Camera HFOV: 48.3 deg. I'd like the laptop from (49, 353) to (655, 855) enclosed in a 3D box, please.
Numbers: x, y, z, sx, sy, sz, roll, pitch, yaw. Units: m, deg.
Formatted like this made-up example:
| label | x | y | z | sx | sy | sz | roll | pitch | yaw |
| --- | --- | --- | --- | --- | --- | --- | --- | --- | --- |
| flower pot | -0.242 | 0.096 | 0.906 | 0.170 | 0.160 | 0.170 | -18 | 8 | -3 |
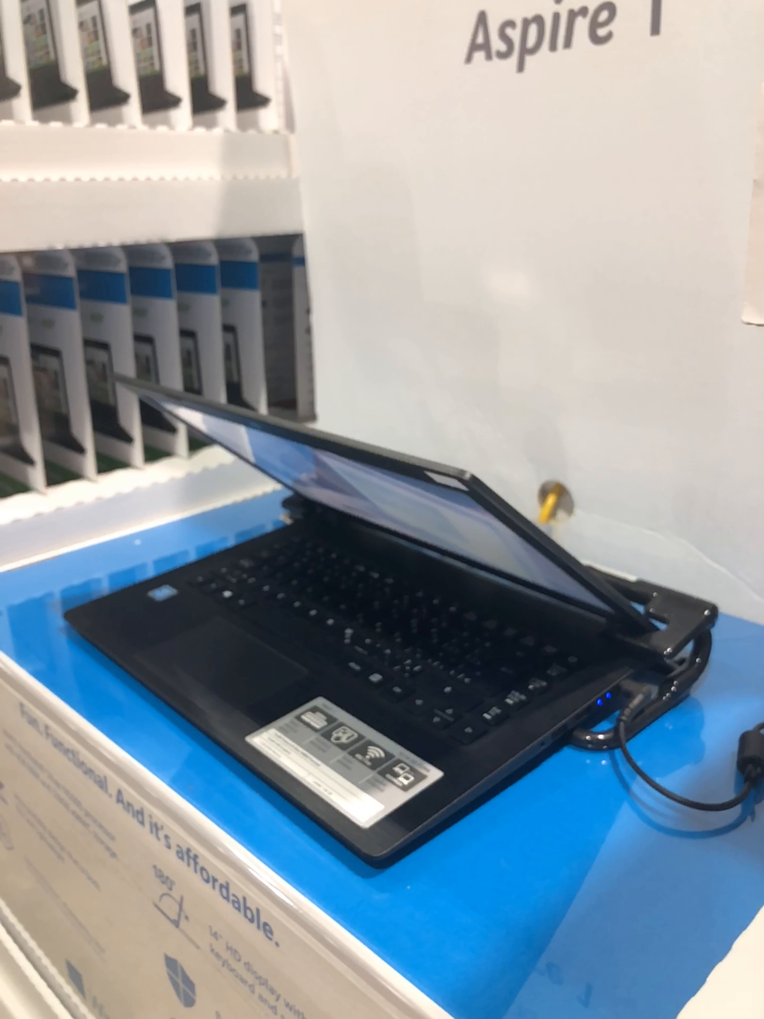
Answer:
| label | x | y | z | sx | sy | sz | roll | pitch | yaw |
| --- | --- | --- | --- | --- | --- | --- | --- | --- | --- |
| laptop | -0.038 | 0.013 | 0.537 | 0.206 | 0.145 | 0.334 | -20 | 26 | -37 |
